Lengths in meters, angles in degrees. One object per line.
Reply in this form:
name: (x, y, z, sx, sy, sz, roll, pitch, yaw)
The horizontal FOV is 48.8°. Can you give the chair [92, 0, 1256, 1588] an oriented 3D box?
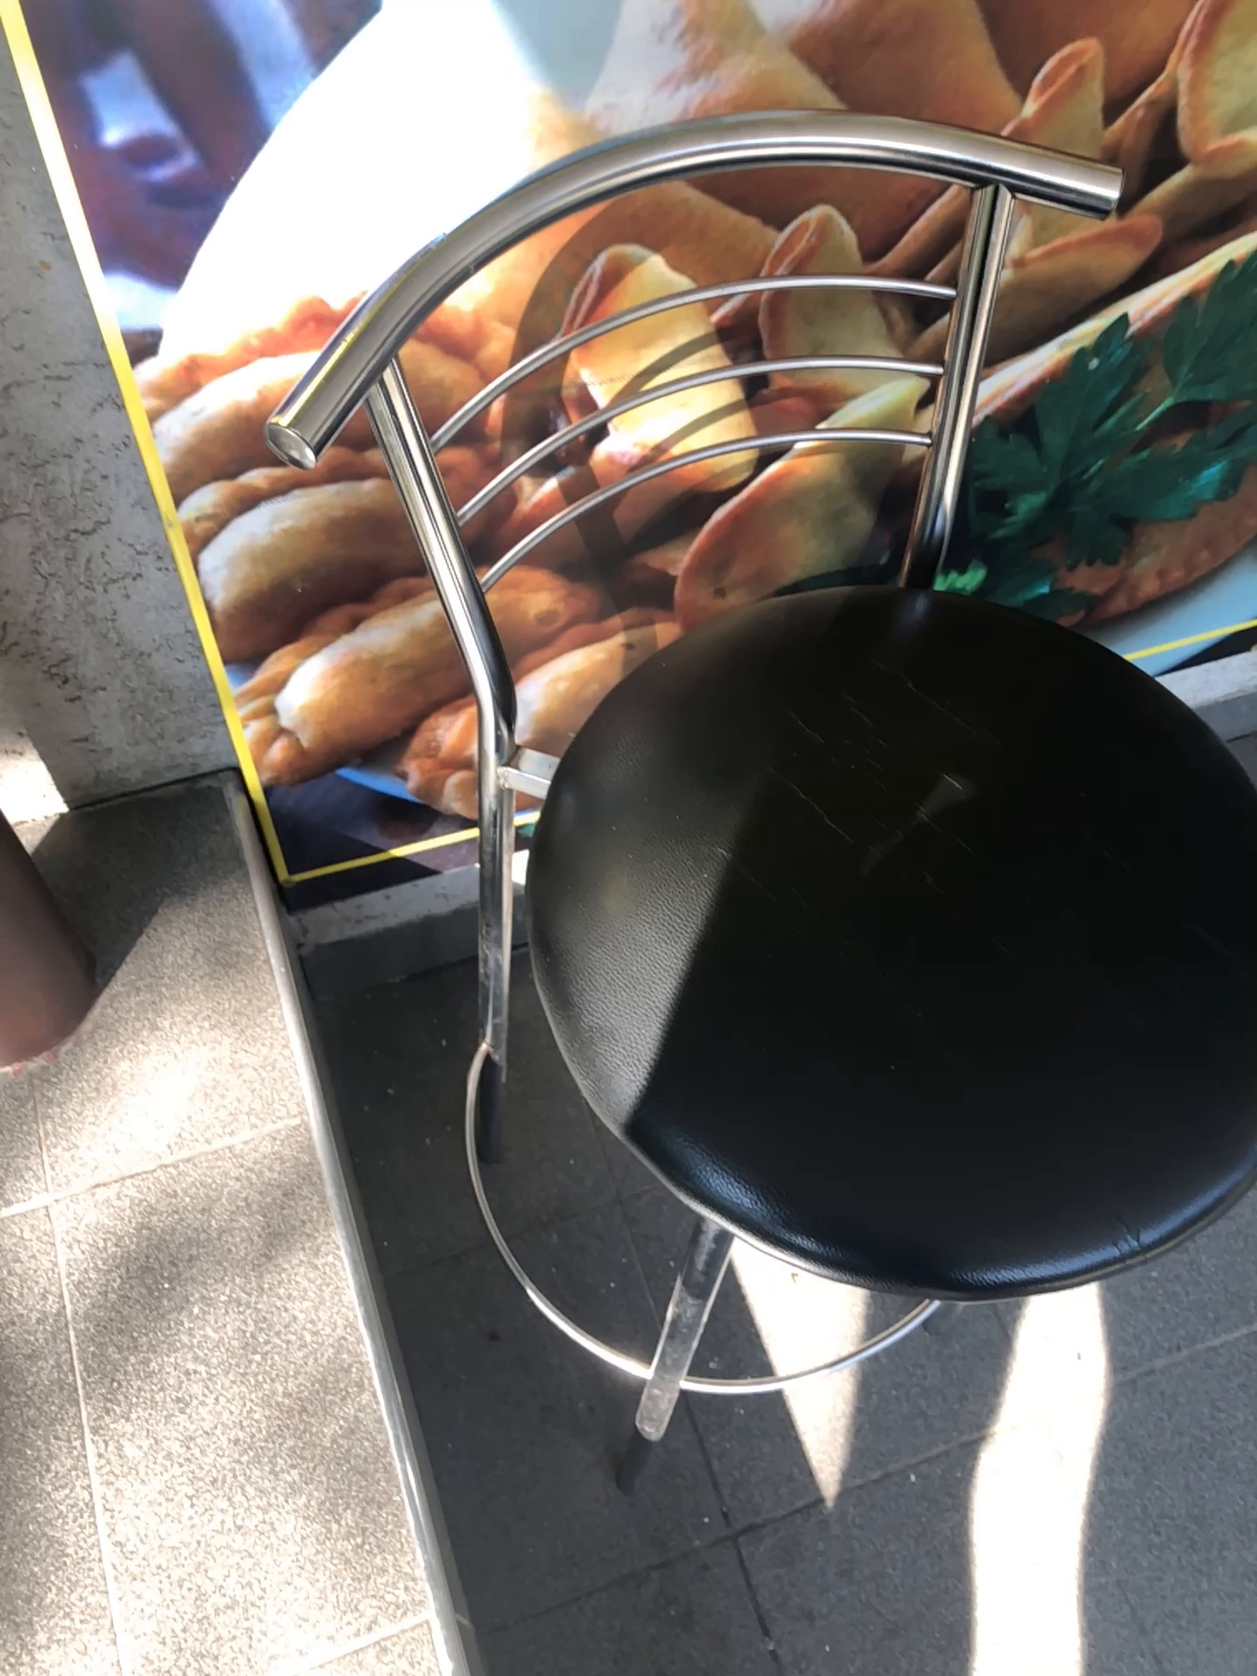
chair: (0.095, 0.122, 1.027, 0.511, 1.097, 0.501, -29, 65, -20)
